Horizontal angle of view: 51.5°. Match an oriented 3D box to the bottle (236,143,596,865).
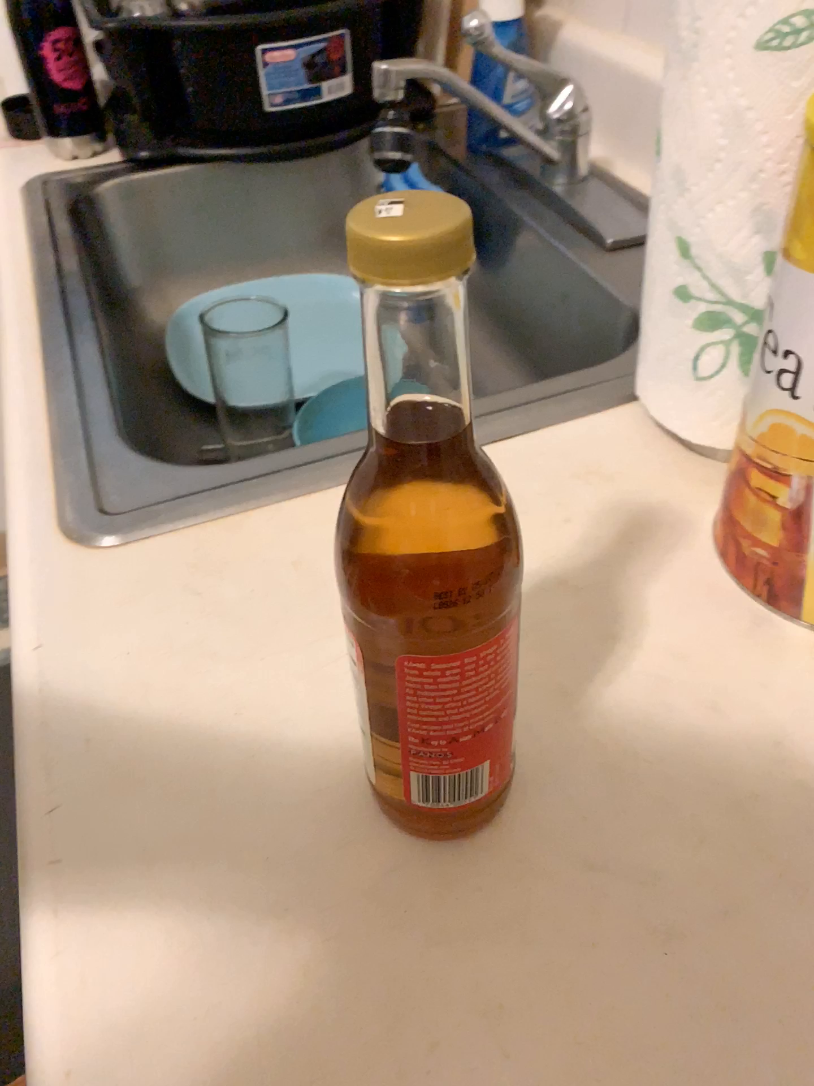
[{"bbox_3d":[0.011,0.010,0.270,0.070,0.239,0.070,-2,43,2],"label":"bottle"}]
